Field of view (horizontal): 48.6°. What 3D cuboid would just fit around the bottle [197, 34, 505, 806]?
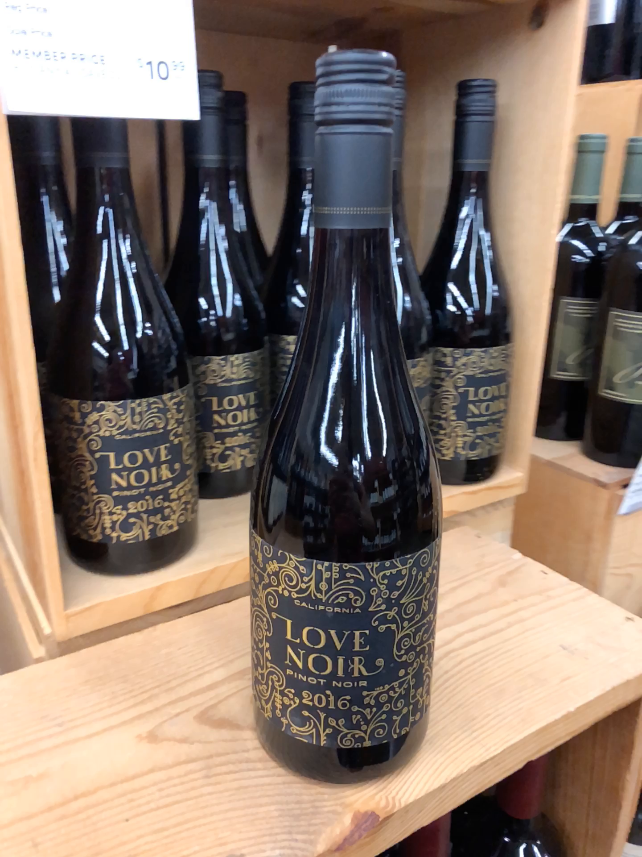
[{"bbox_3d":[0.012,0.006,0.294,0.090,0.285,0.086,1,19,0],"label":"bottle"}]
